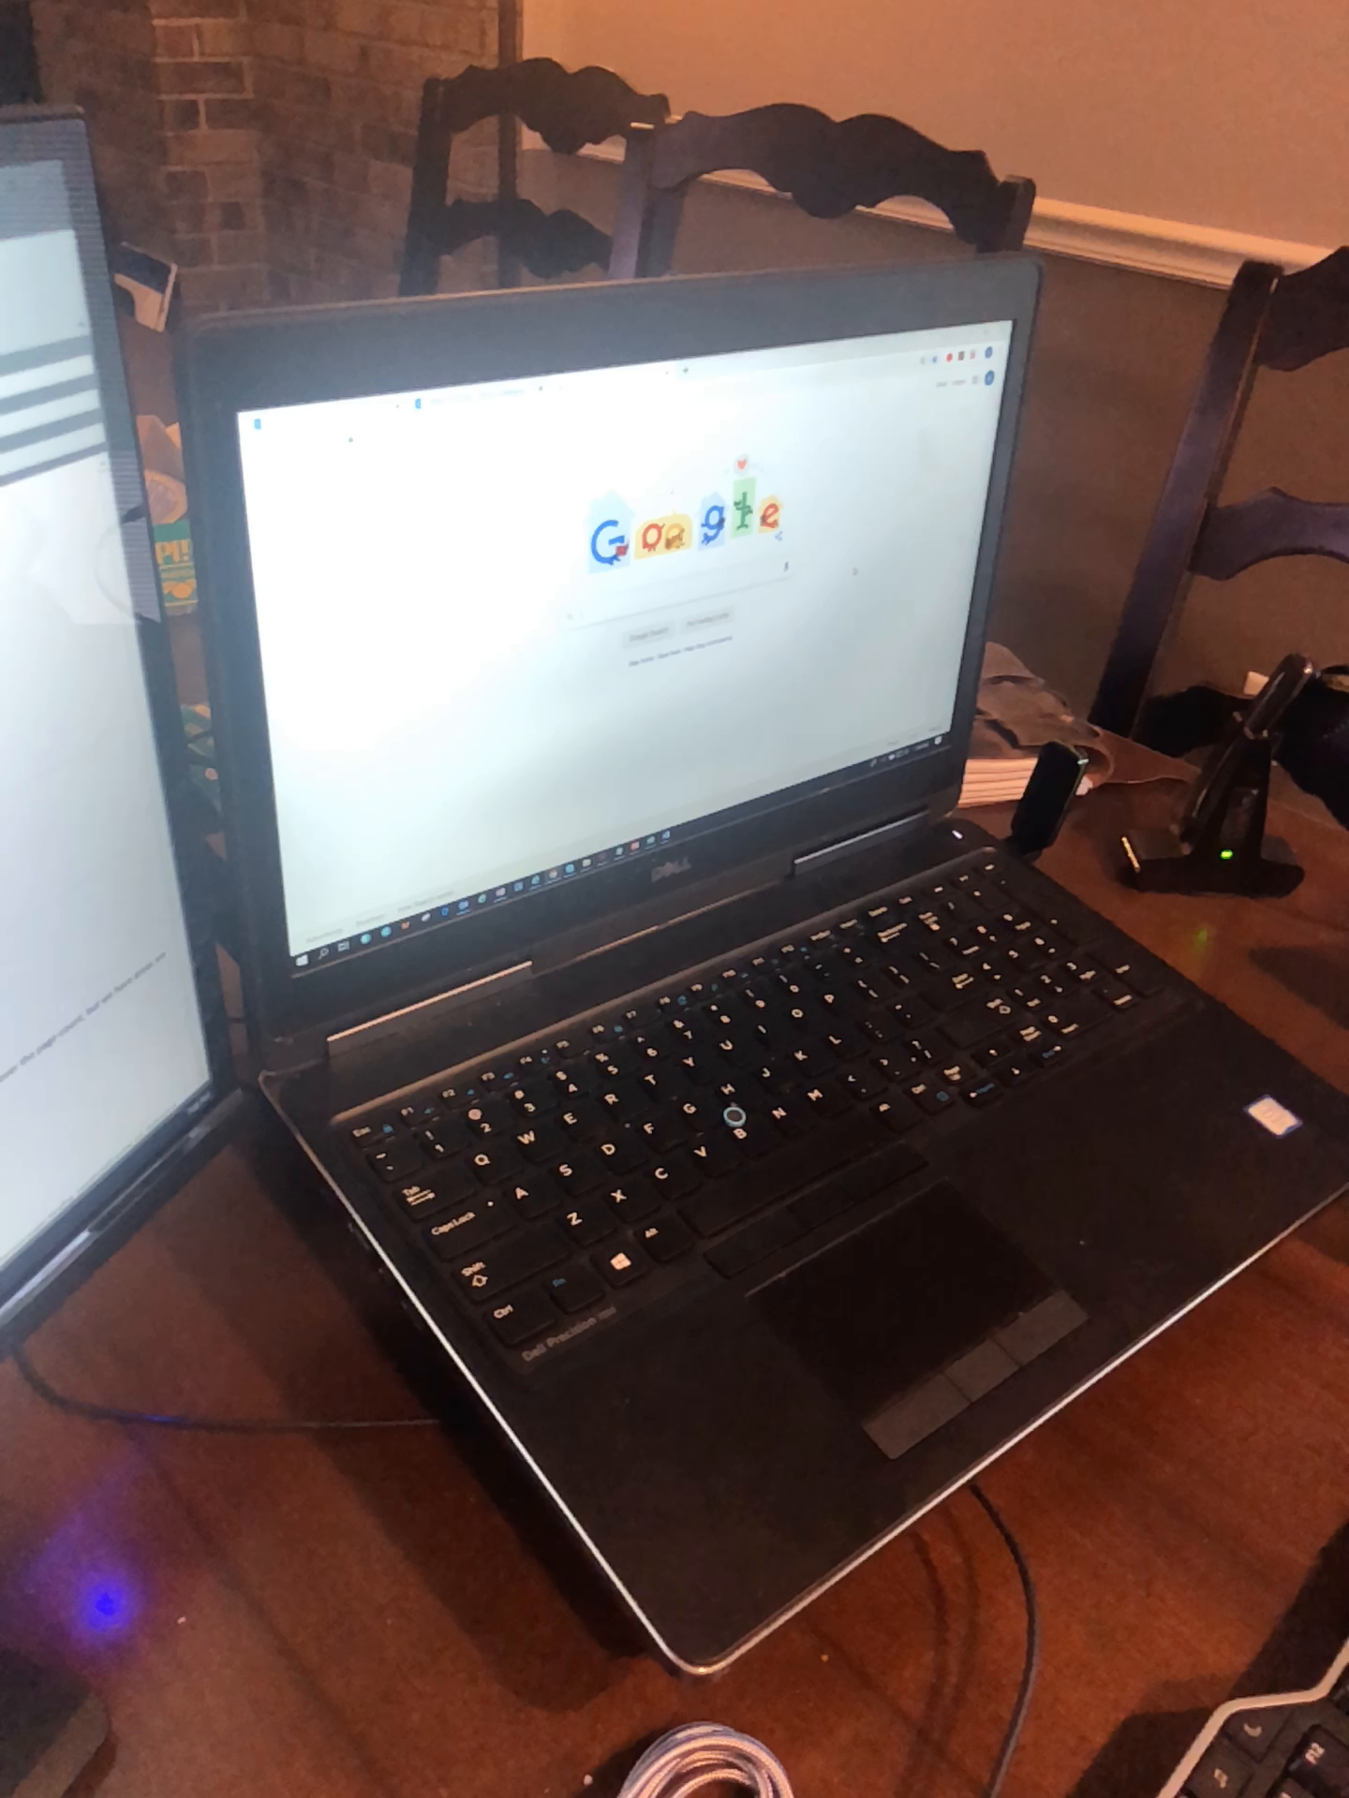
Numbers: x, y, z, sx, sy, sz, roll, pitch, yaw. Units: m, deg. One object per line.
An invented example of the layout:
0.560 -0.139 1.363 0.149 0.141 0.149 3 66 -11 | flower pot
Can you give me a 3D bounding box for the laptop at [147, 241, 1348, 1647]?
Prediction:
0.072 -0.041 0.514 0.368 0.258 0.287 -20 43 -35 | laptop
